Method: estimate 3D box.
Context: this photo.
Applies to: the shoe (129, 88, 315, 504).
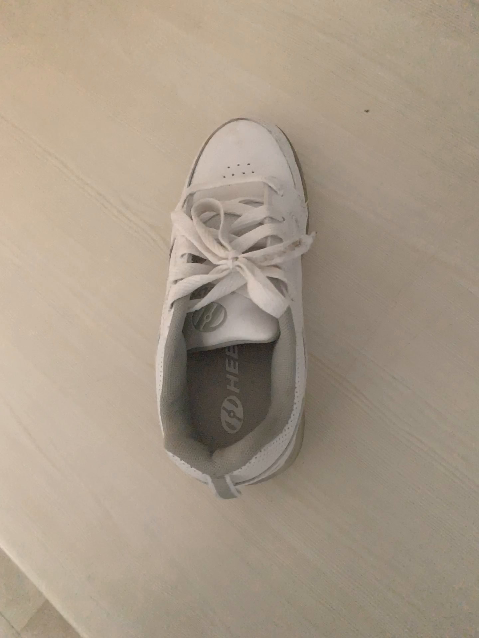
[{"bbox_3d":[-0.003,-0.011,0.313,0.090,0.090,0.230,-3,76,11],"label":"shoe"}]
